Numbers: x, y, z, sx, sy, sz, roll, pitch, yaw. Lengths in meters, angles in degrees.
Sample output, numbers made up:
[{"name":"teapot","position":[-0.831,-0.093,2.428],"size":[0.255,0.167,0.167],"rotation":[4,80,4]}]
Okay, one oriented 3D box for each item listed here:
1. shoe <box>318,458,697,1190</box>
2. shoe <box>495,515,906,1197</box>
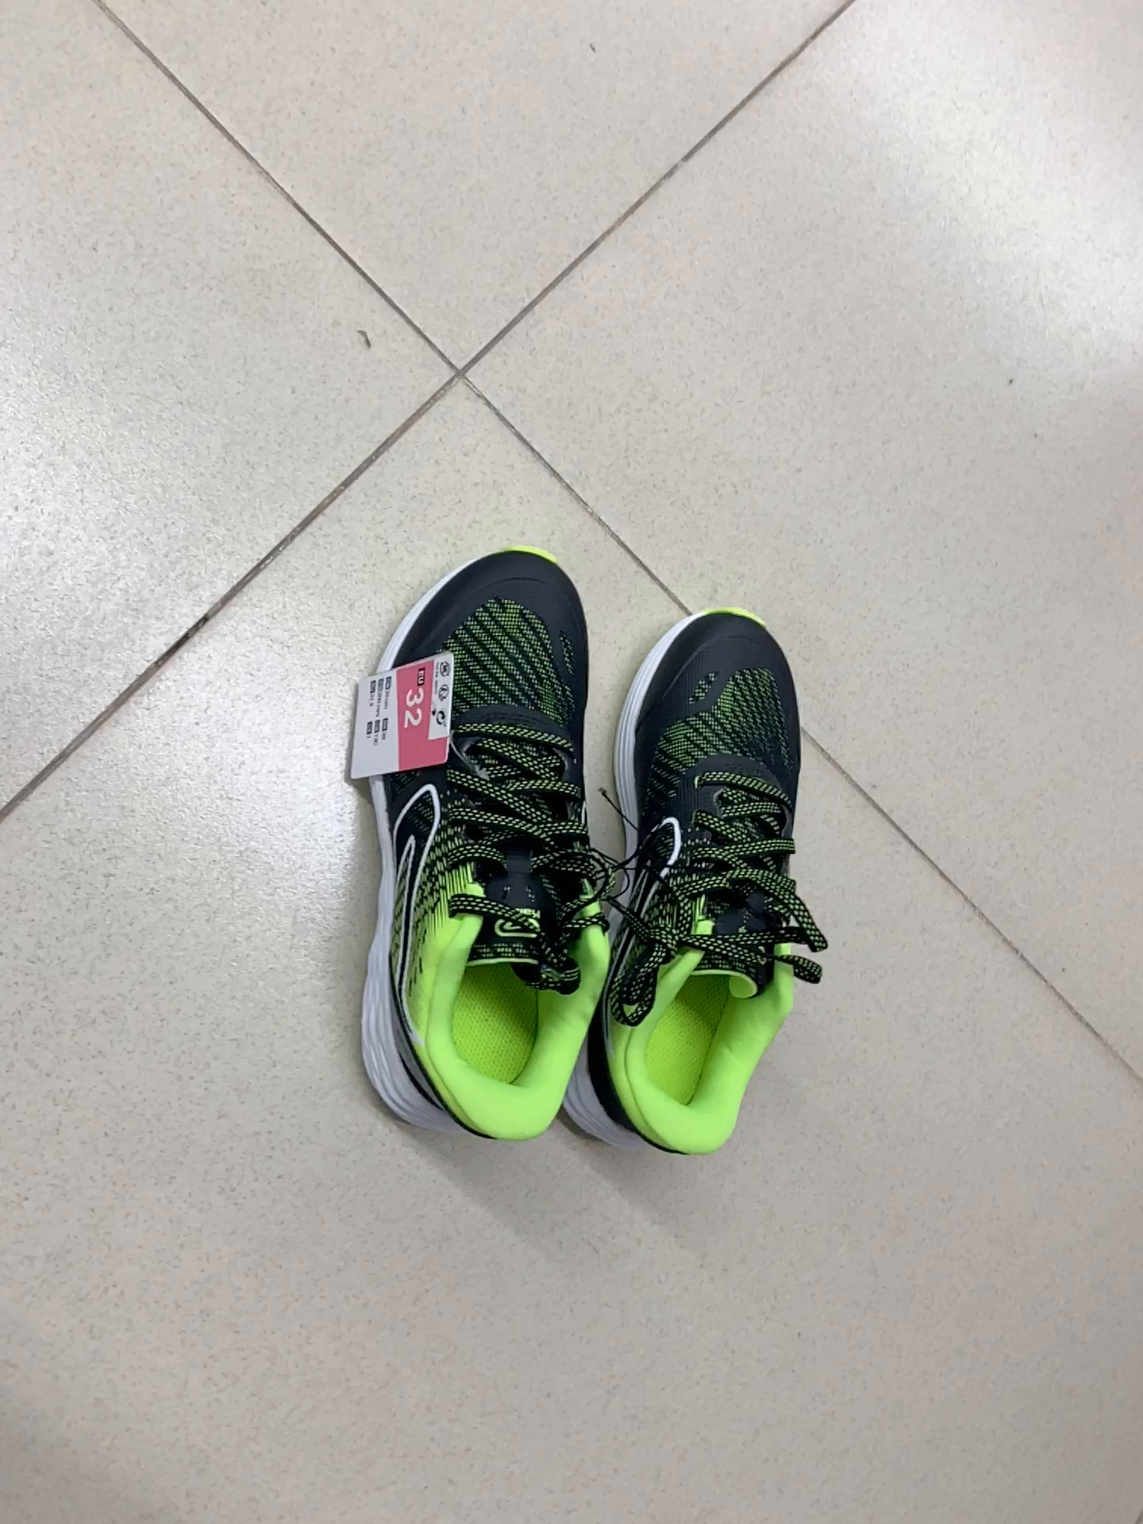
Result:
[{"name":"shoe","position":[-0.027,0.026,0.450],"size":[0.090,0.110,0.240],"rotation":[9,81,-21]},{"name":"shoe","position":[0.052,0.039,0.489],"size":[0.090,0.110,0.240],"rotation":[15,78,-20]}]
